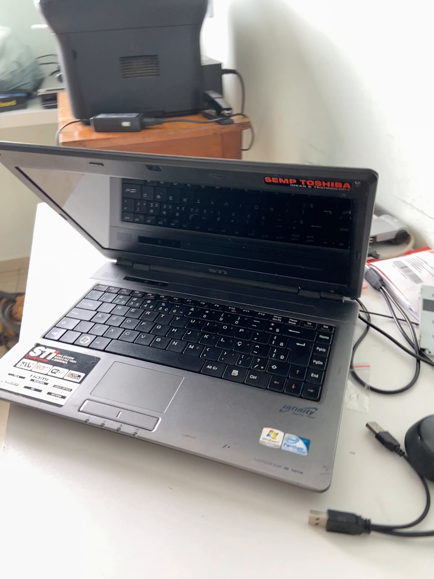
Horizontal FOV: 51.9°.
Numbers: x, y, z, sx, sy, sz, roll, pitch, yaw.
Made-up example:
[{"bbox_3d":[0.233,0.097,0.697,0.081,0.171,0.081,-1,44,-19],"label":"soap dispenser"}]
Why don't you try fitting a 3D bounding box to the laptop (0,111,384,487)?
[{"bbox_3d":[-0.042,-0.029,0.427,0.342,0.200,0.243,9,36,18],"label":"laptop"}]
